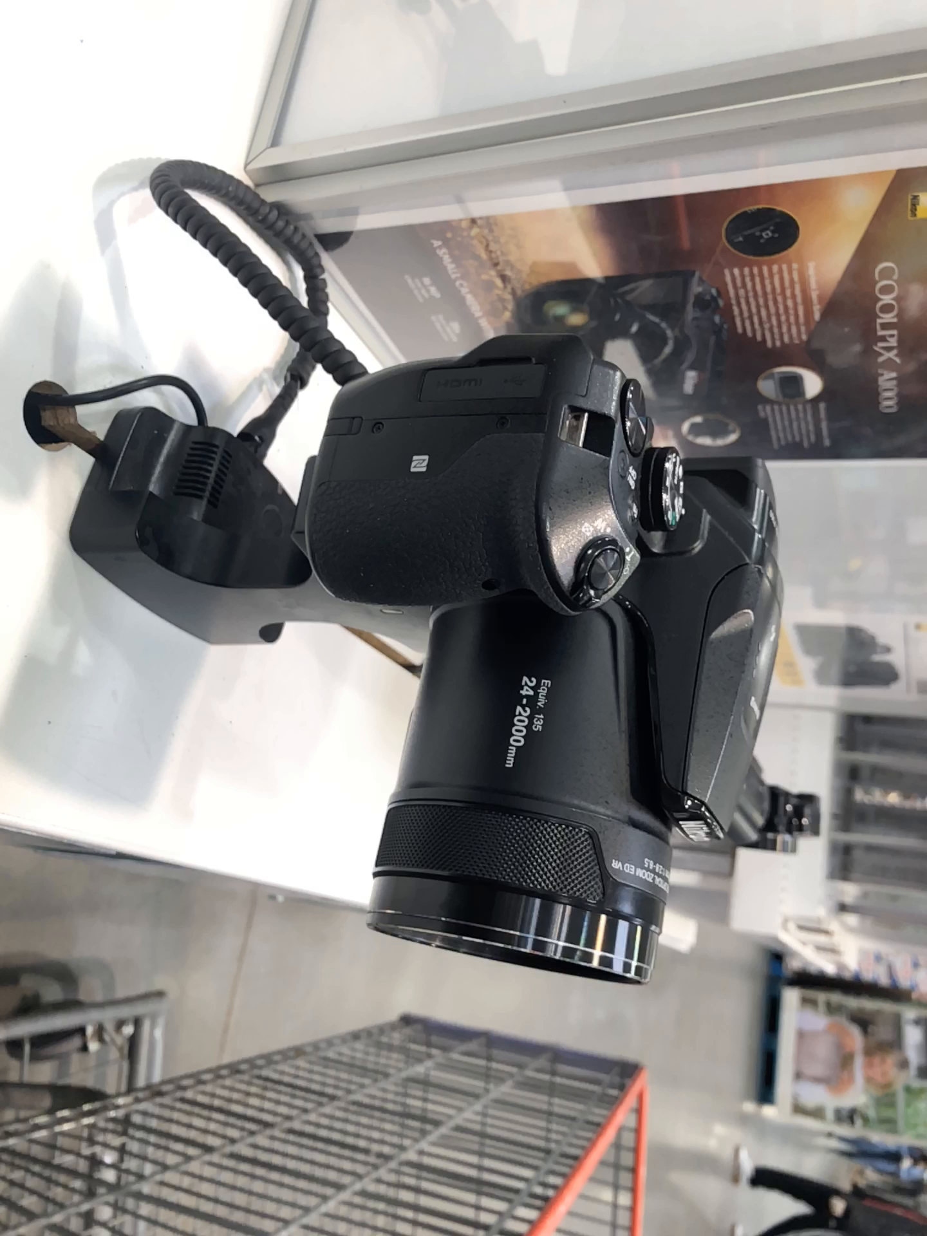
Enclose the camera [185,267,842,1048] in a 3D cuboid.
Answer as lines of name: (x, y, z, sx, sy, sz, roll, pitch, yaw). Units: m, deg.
camera: (0.034, 0.020, 0.274, 0.141, 0.109, 0.150, 48, 49, -57)
